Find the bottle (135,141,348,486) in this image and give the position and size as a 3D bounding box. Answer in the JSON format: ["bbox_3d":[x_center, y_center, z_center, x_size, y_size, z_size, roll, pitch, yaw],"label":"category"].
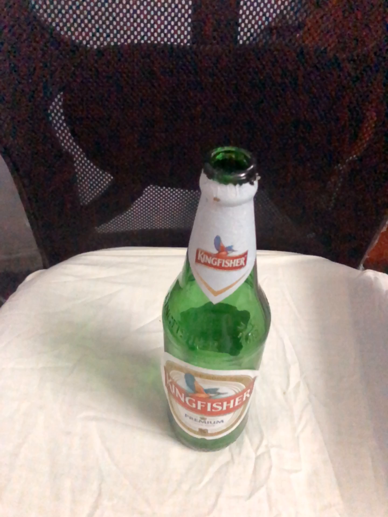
[{"bbox_3d":[0.020,0.062,0.277,0.080,0.259,0.070,11,48,7],"label":"bottle"}]
